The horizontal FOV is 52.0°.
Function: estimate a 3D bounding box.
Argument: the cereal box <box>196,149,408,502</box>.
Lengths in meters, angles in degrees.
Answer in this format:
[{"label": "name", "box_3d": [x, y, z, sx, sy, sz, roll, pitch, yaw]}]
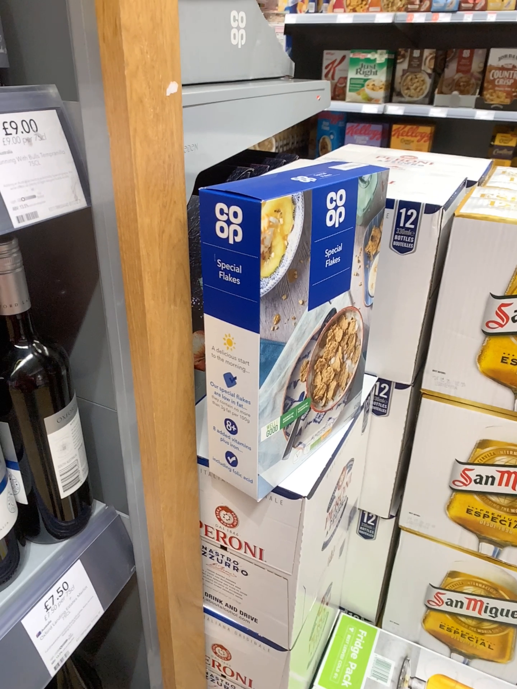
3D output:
[{"label": "cereal box", "box_3d": [0.044, -0.026, 0.495, 0.070, 0.267, 0.201, 21, 34, 34]}]
